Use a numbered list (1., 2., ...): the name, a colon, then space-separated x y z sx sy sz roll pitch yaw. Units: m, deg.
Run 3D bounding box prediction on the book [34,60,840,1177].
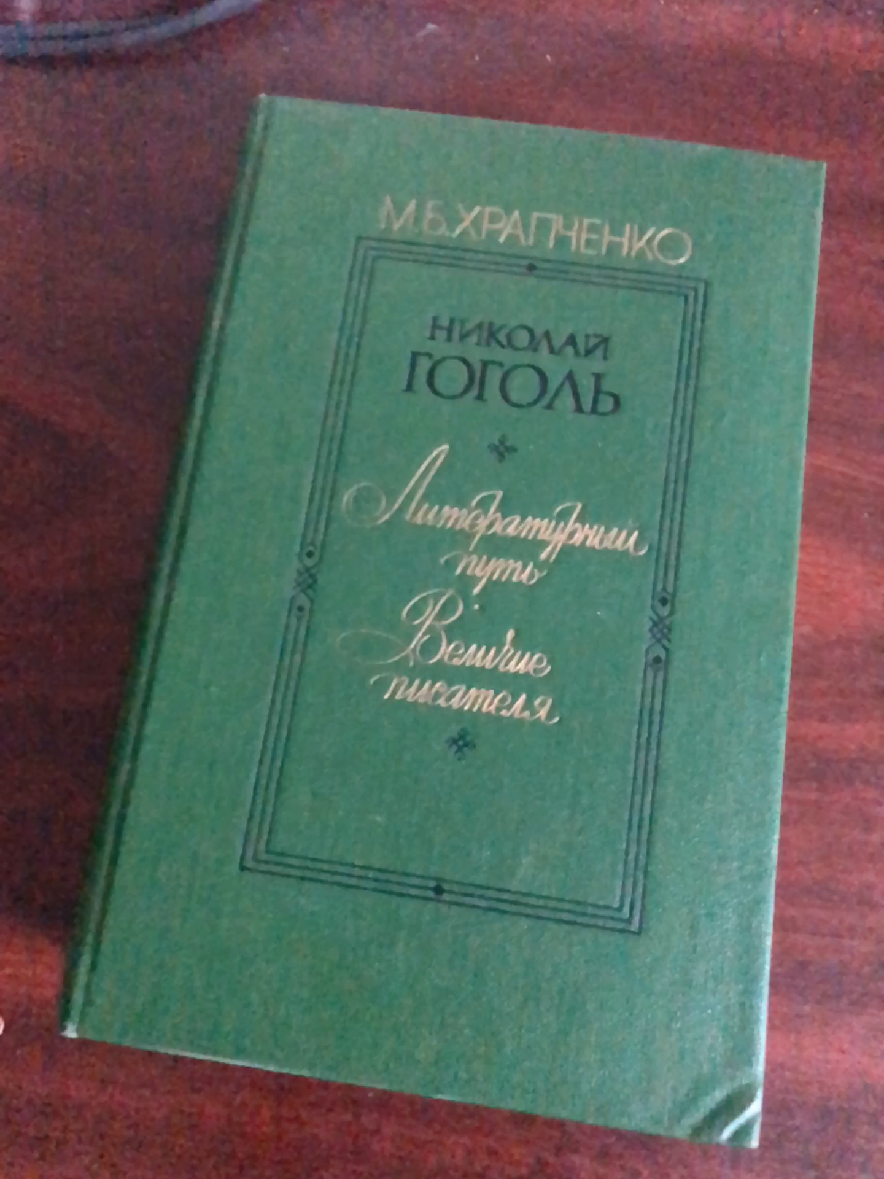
1. book: 0.008 -0.003 0.218 0.129 0.050 0.206 8 77 3
